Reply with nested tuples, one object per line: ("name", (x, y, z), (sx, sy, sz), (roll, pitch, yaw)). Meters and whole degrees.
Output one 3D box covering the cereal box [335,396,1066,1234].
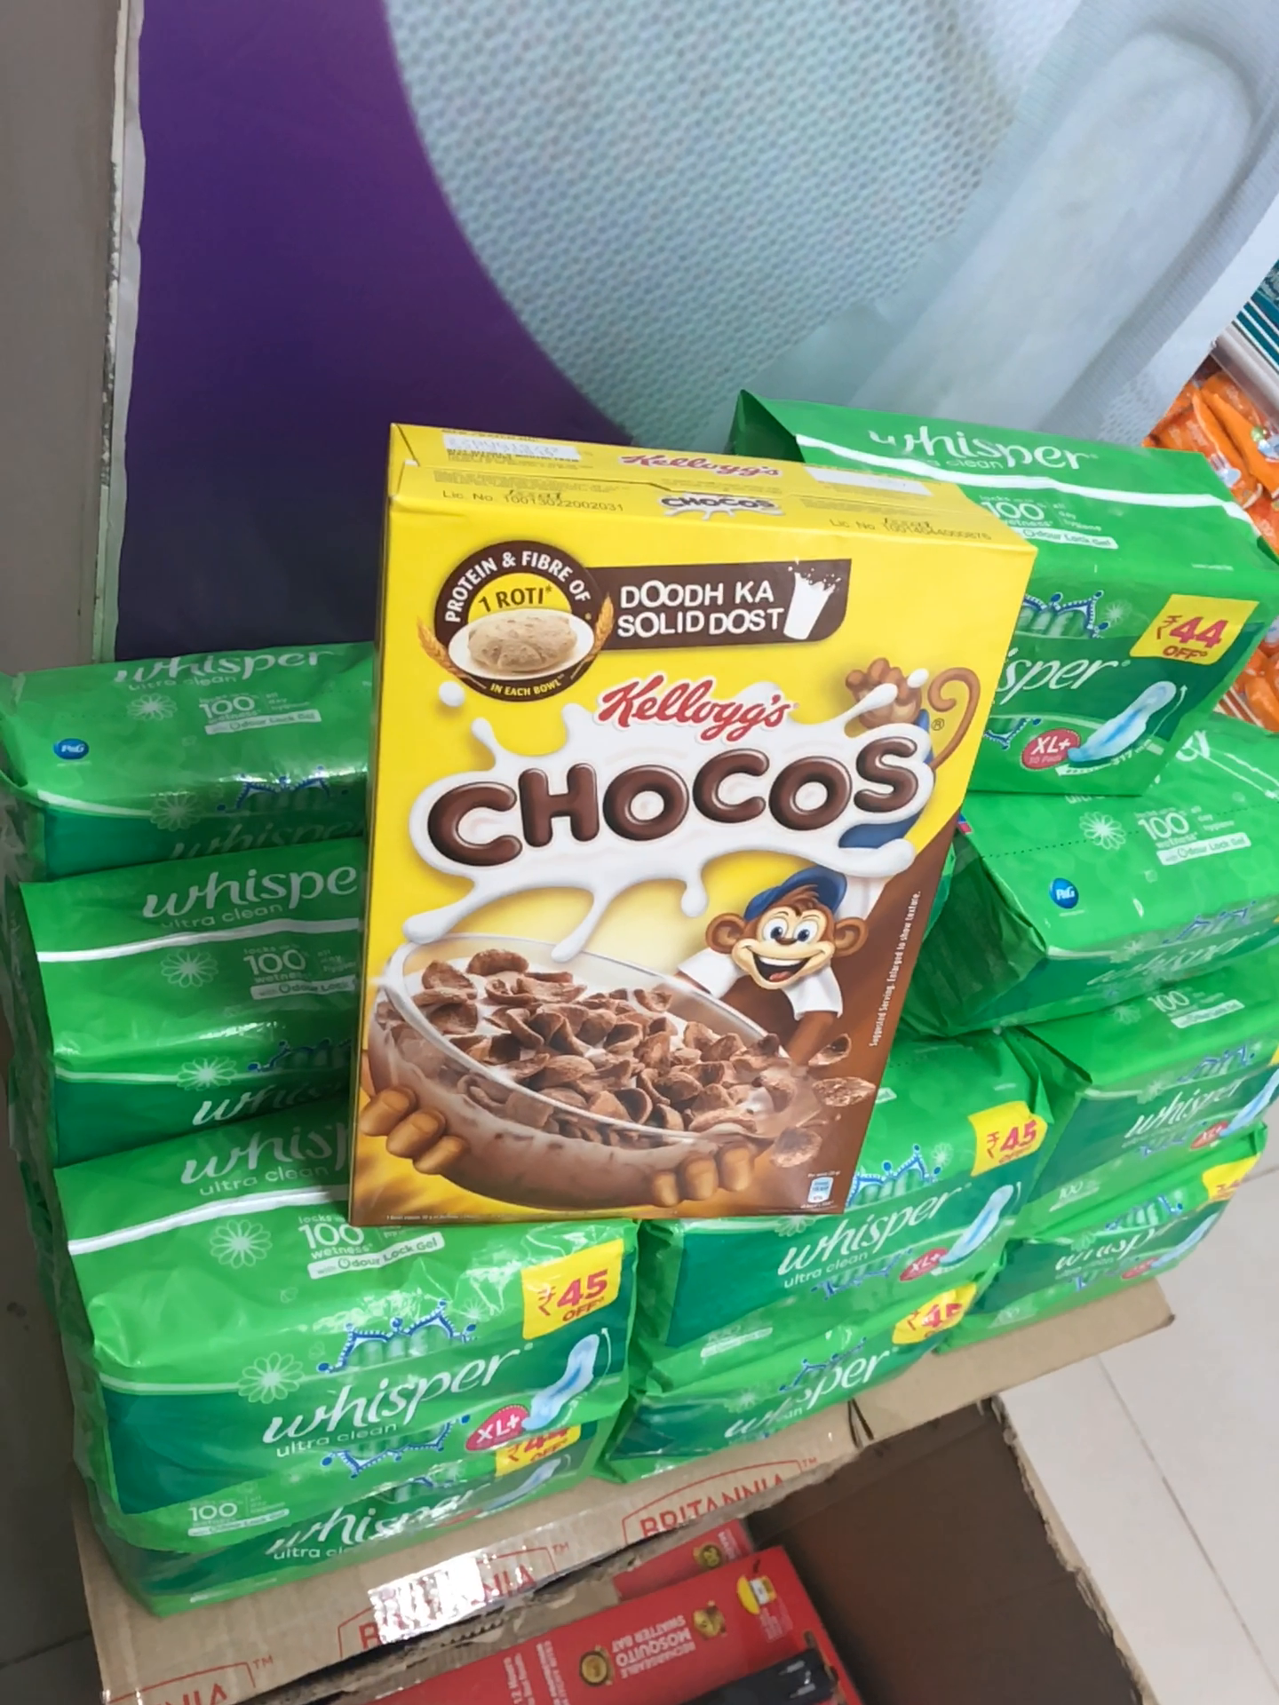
("cereal box", (0.001, 0.000, 0.470), (0.190, 0.259, 0.080), (2, 30, -13))
